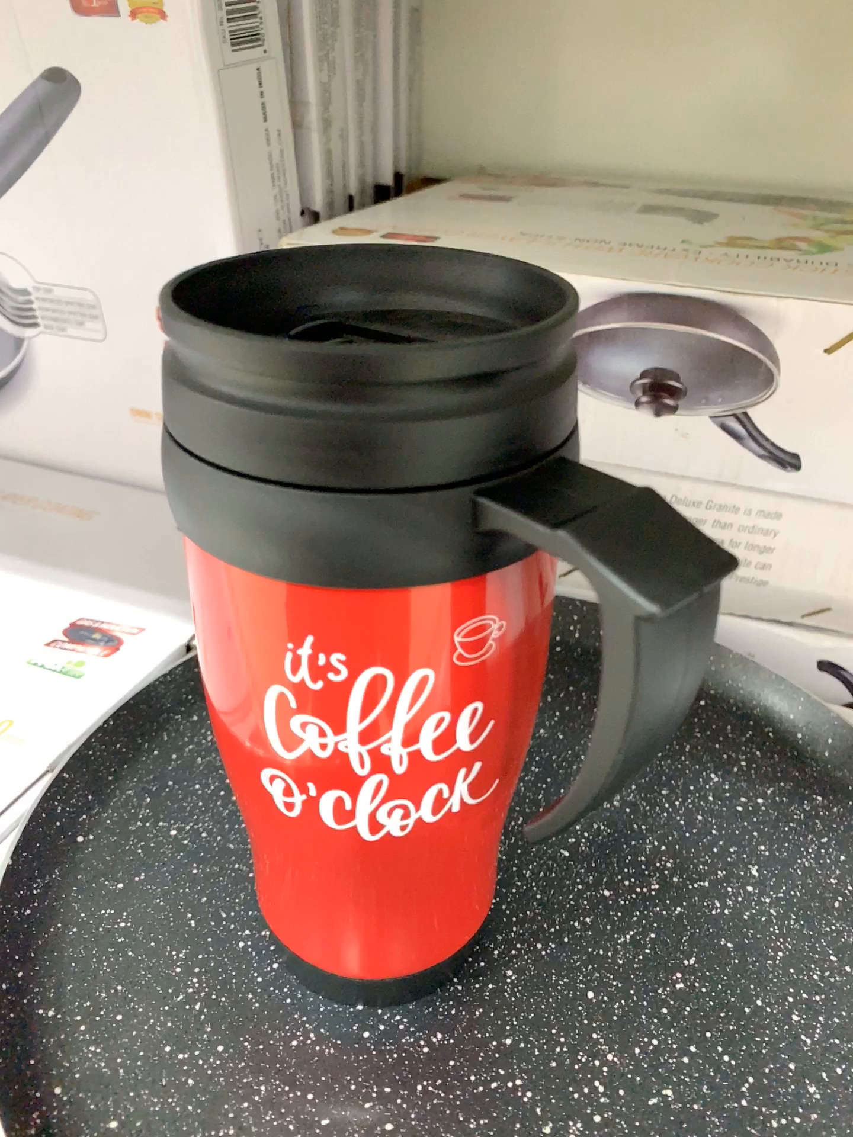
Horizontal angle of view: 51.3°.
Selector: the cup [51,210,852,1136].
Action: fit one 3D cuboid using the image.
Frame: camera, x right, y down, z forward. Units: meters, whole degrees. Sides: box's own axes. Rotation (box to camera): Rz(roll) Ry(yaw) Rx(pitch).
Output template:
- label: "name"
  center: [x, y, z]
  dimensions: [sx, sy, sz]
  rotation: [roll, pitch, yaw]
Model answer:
- label: "cup"
  center: [0.006, 0.024, 0.194]
  dimensions: [0.120, 0.169, 0.090]
  rotation: [25, 38, 35]
